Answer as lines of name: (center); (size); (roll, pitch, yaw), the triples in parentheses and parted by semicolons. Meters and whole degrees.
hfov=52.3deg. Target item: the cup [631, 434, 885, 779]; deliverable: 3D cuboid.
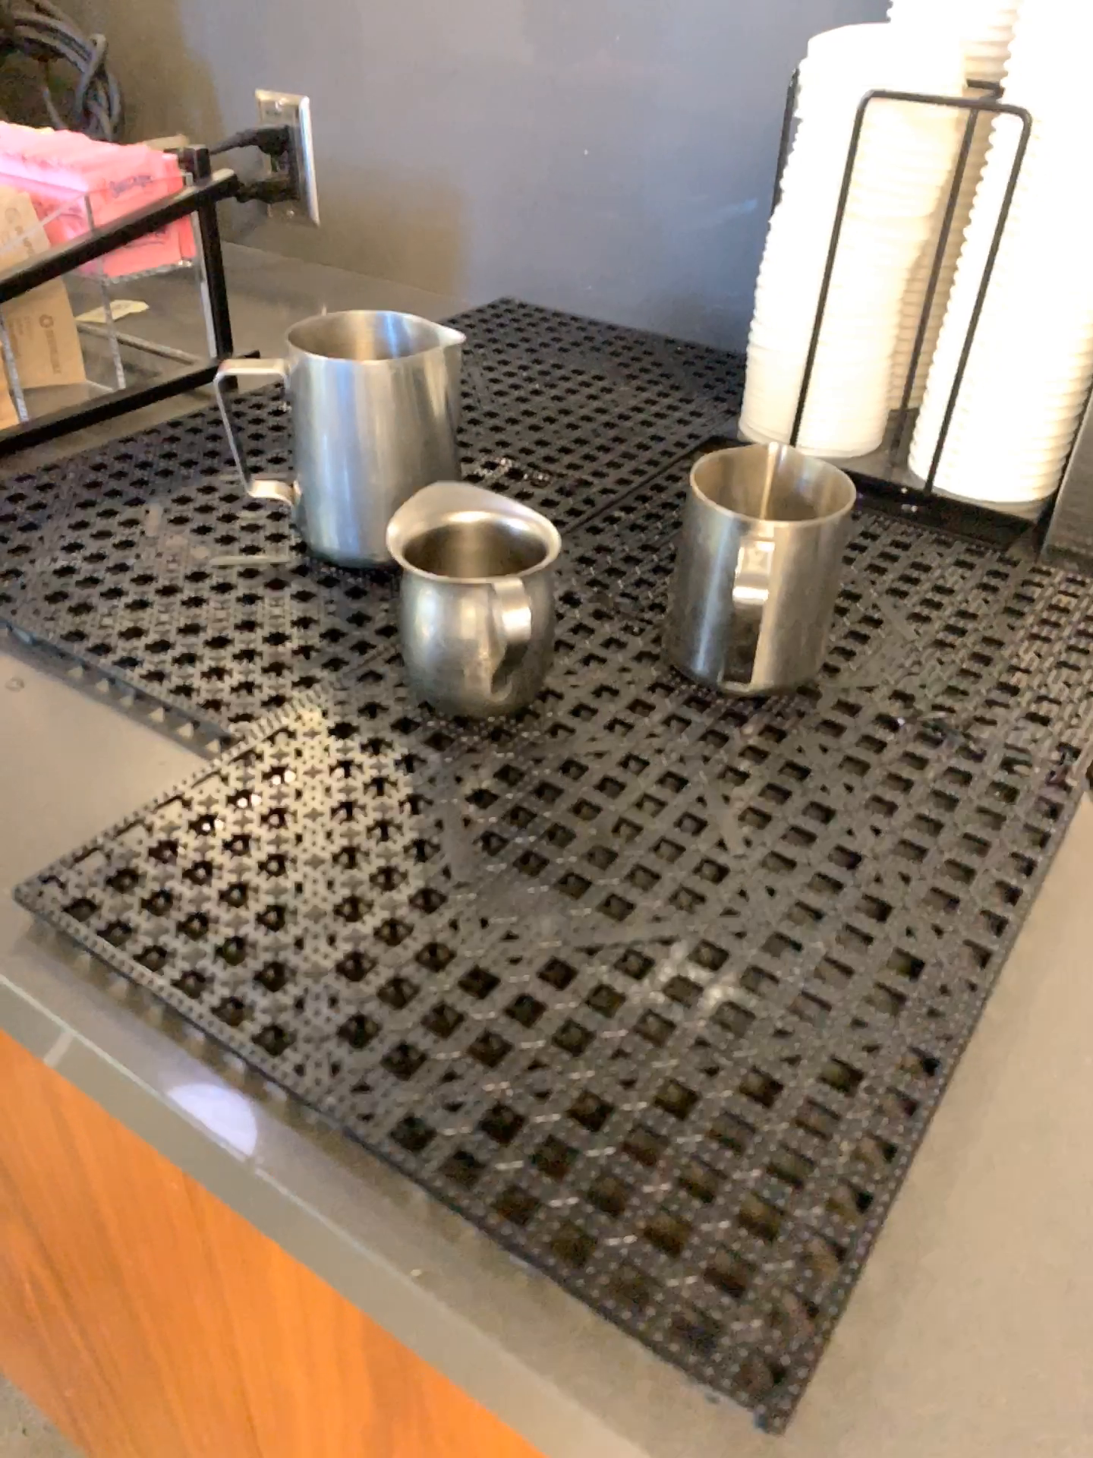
cup: (0.091, -0.057, 0.469); (0.080, 0.079, 0.131); (11, 37, 11)

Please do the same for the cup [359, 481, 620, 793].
cup: (-0.027, -0.042, 0.451); (0.070, 0.070, 0.111); (-11, 38, -18)

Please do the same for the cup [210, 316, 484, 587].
cup: (-0.095, -0.138, 0.554); (0.120, 0.109, 0.070); (-3, 37, -8)
